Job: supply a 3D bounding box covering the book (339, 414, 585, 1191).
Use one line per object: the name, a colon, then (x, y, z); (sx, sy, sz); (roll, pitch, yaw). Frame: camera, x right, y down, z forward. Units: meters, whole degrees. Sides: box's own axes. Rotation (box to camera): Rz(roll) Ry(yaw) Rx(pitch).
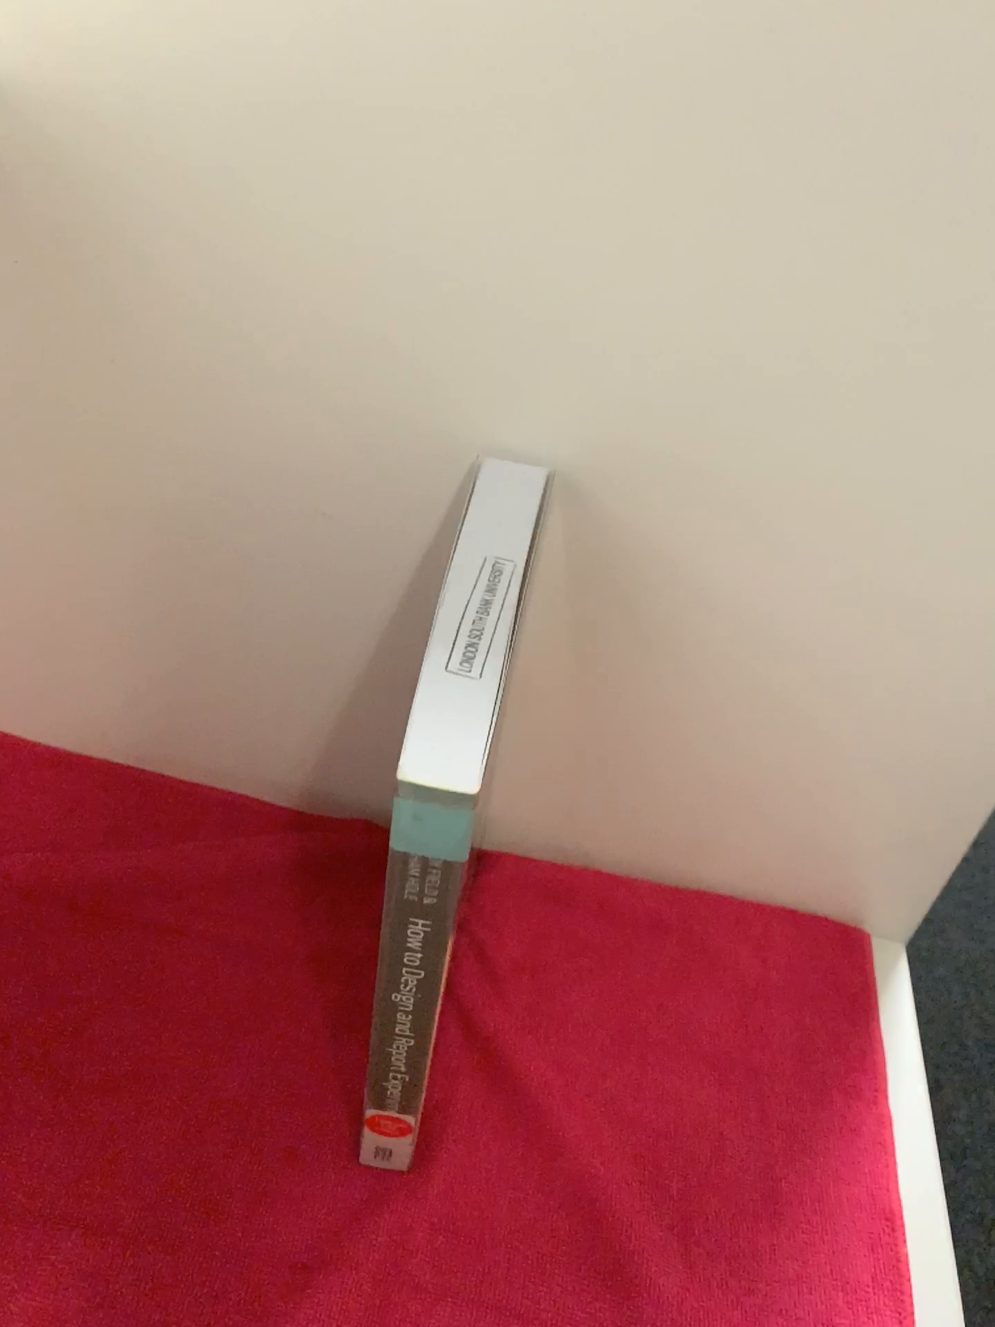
book: (-0.015, 0.059, 0.414); (0.040, 0.247, 0.192); (11, 41, 1)
